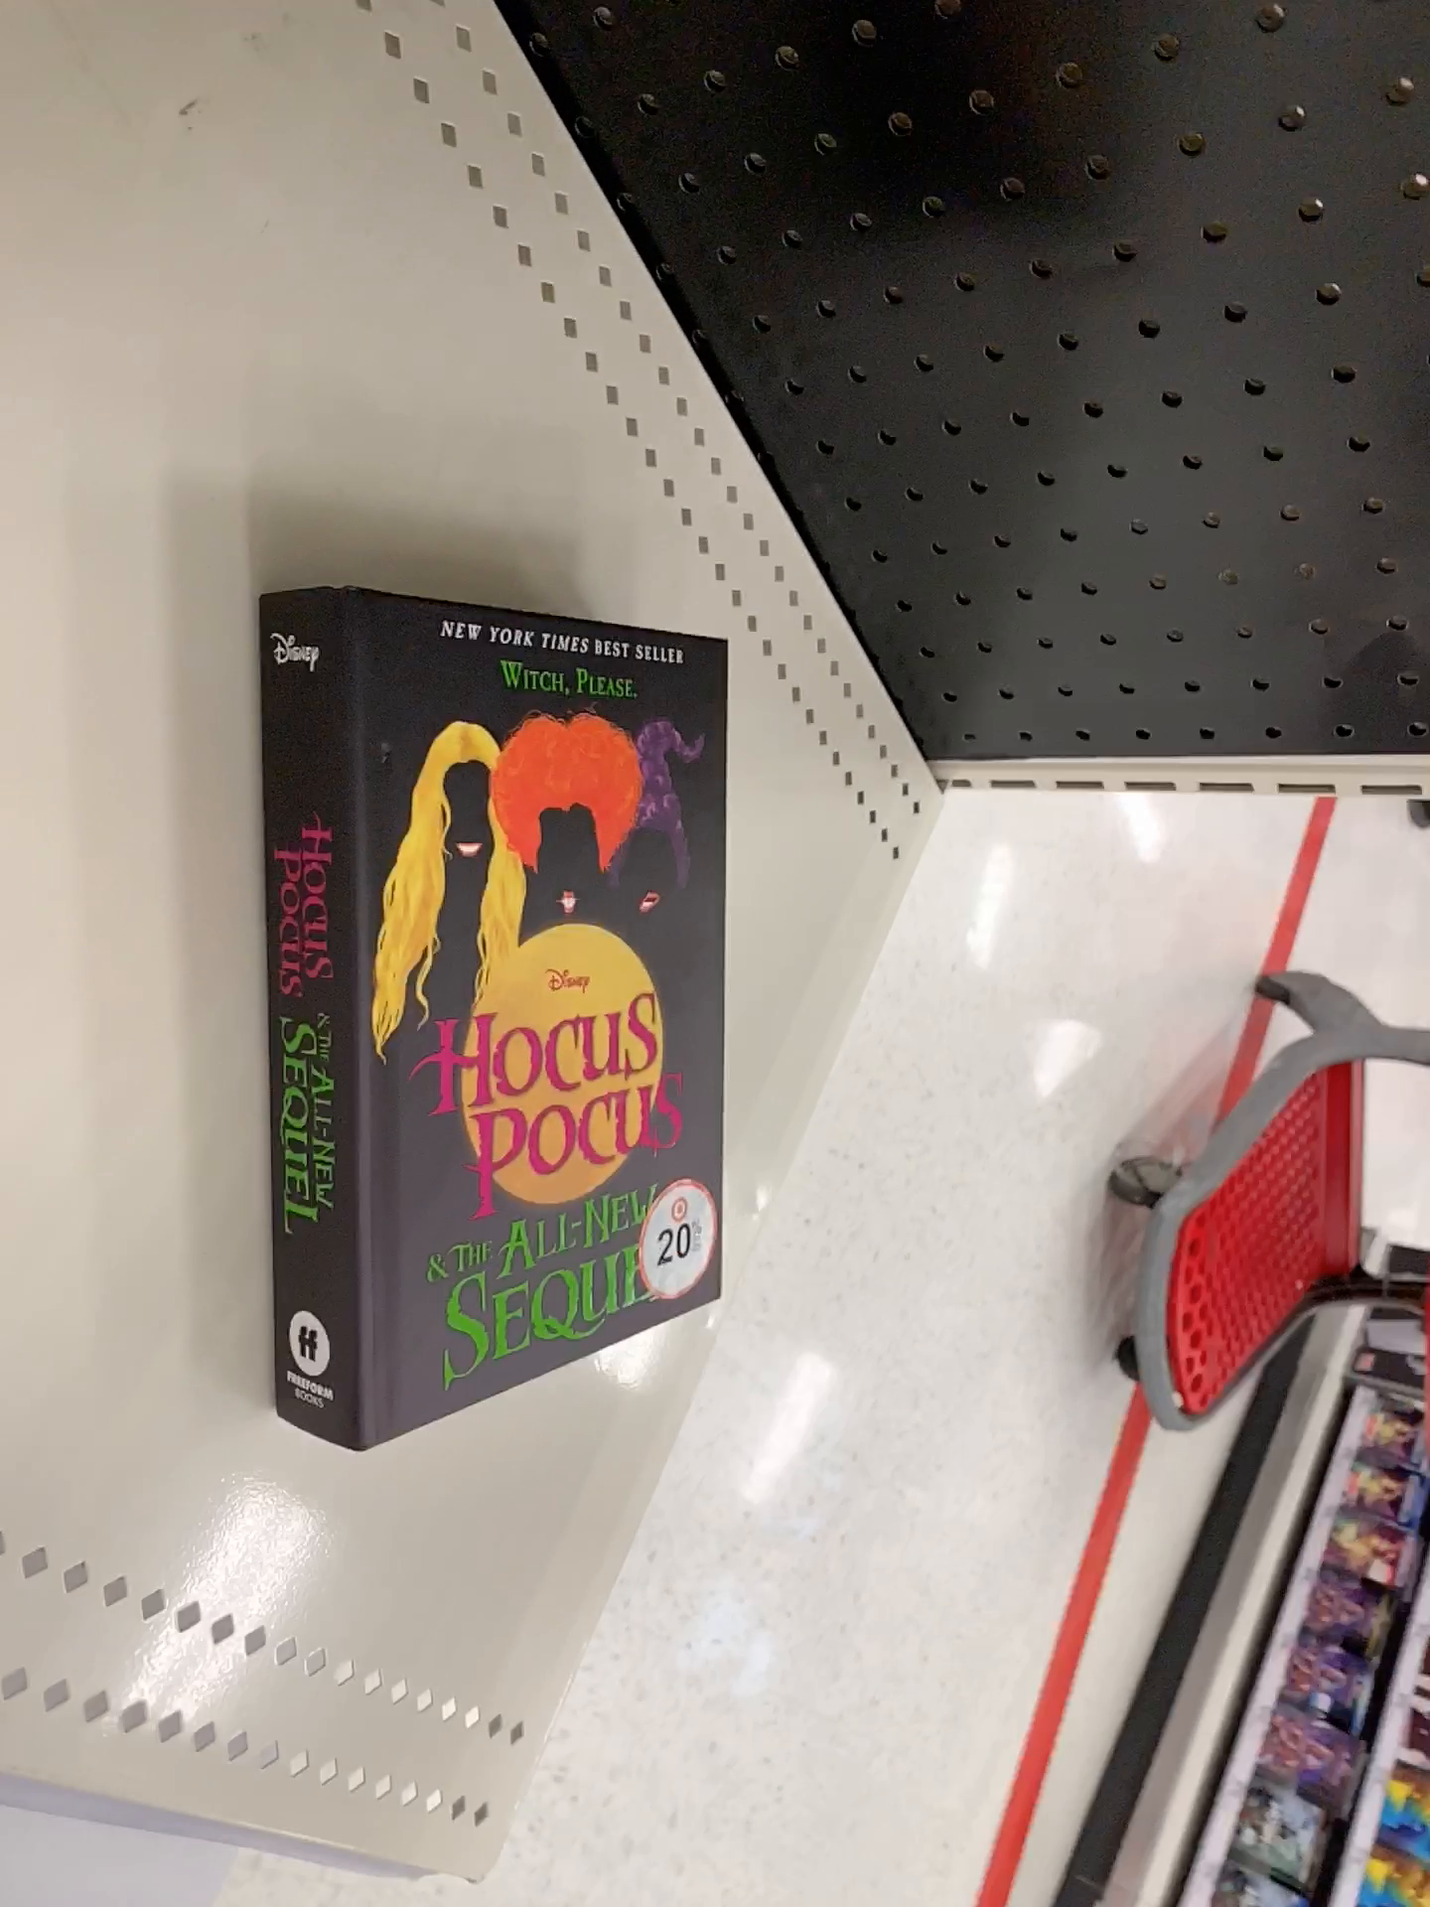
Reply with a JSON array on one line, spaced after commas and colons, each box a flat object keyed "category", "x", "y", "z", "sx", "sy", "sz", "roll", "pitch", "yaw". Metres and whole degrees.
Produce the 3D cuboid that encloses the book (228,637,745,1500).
[{"category": "book", "x": -0.057, "y": 0.022, "z": 0.425, "sx": 0.149, "sy": 0.050, "sz": 0.209, "roll": -9, "pitch": 102, "yaw": -52}]
